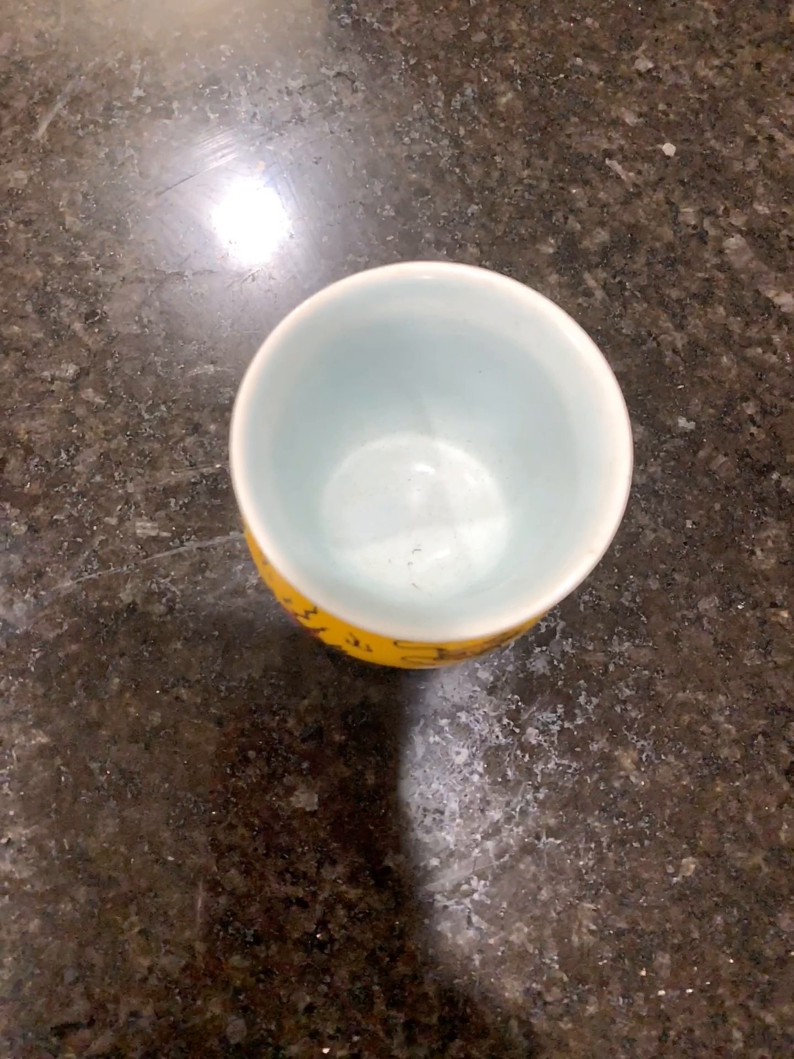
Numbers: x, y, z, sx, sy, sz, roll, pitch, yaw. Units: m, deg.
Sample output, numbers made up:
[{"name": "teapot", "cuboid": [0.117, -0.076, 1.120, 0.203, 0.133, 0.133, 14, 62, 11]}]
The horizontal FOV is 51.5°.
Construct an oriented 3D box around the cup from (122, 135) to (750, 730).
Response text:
[{"name": "cup", "cuboid": [0.006, -0.013, 0.168, 0.075, 0.066, 0.072, 1, 75, -2]}]
